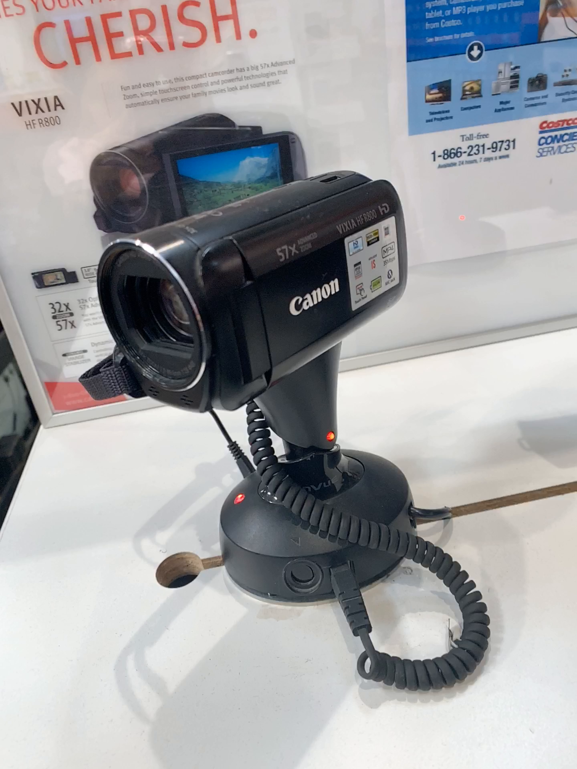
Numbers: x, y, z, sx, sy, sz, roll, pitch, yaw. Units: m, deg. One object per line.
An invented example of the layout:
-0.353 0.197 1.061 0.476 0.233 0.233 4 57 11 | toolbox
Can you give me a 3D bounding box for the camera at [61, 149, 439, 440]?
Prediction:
-0.002 -0.041 0.204 0.050 0.050 0.126 17 38 37 | camera
